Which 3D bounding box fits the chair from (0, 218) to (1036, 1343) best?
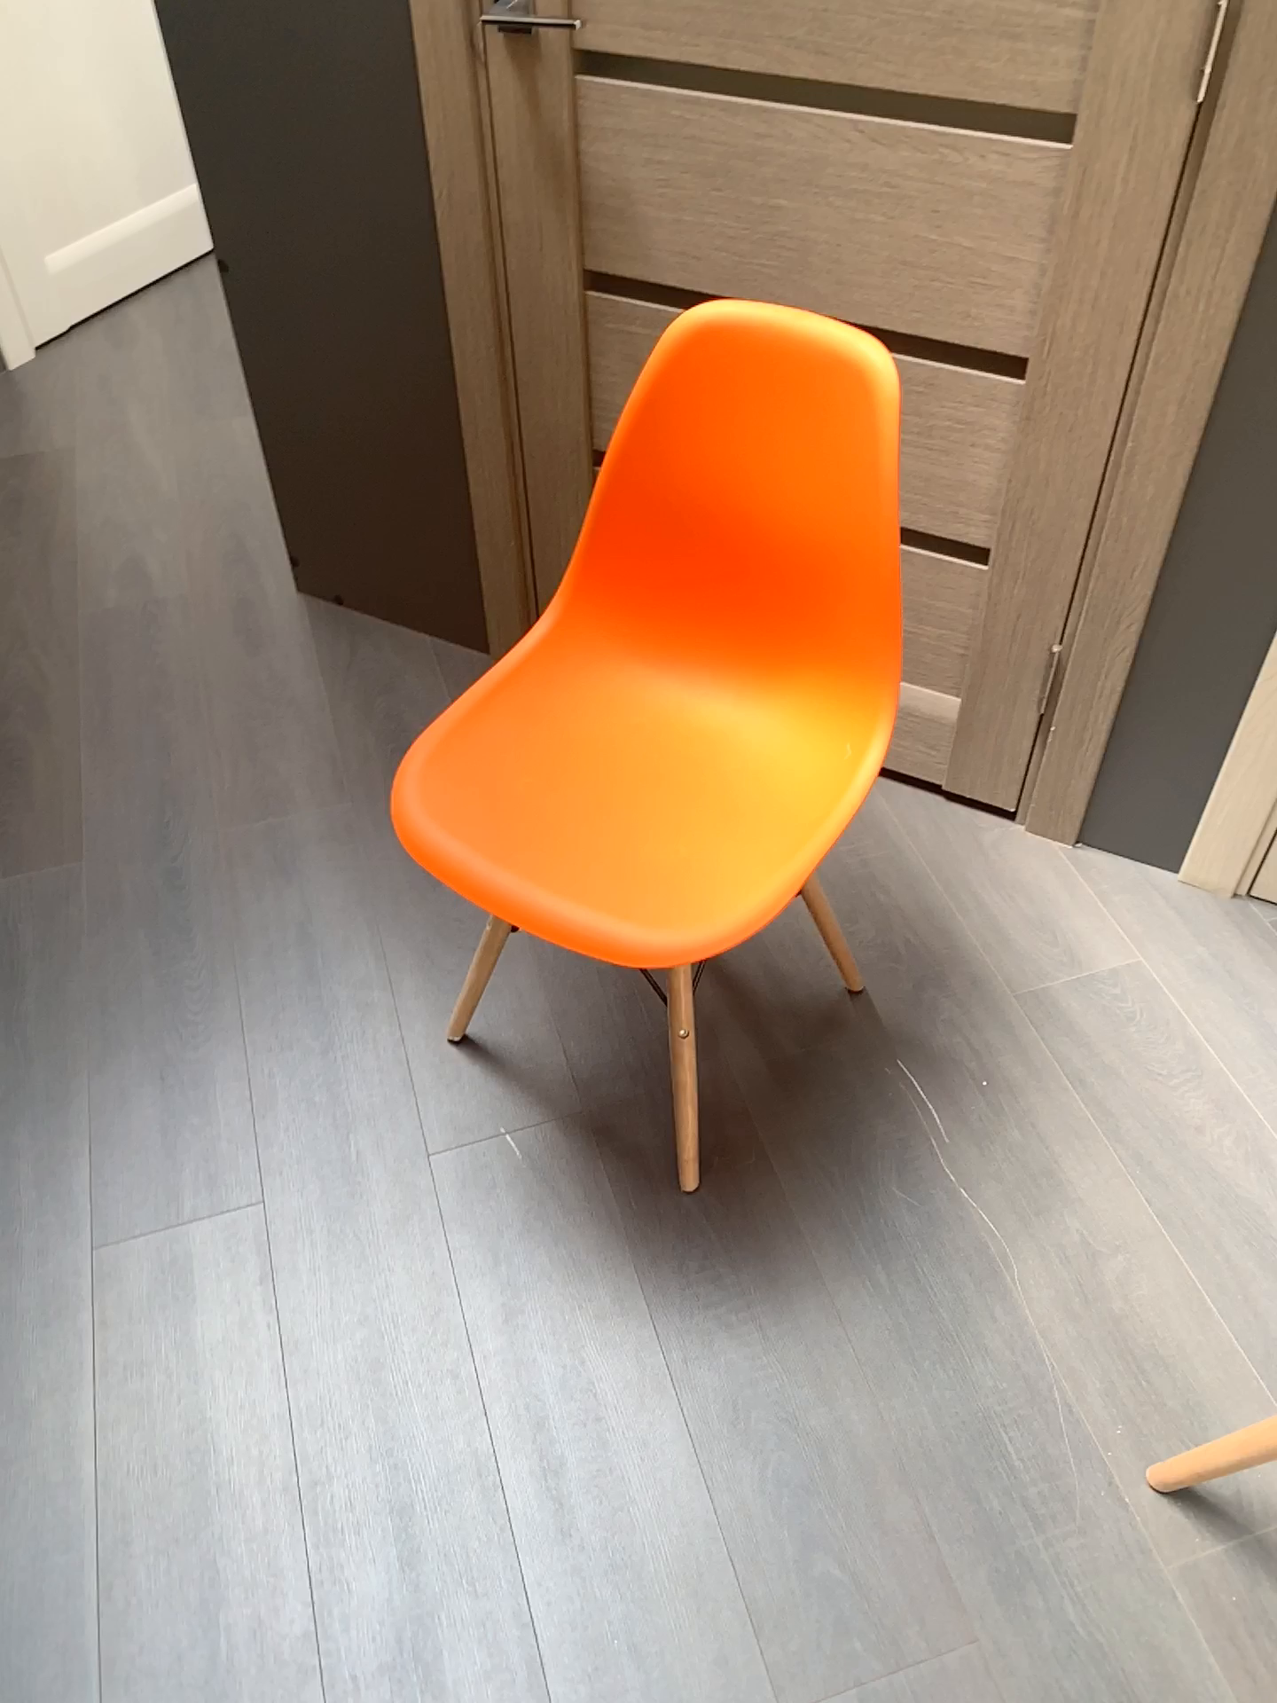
[{"bbox_3d":[-0.065,-0.067,1.182,0.531,0.717,0.521,26,51,25],"label":"chair"}]
